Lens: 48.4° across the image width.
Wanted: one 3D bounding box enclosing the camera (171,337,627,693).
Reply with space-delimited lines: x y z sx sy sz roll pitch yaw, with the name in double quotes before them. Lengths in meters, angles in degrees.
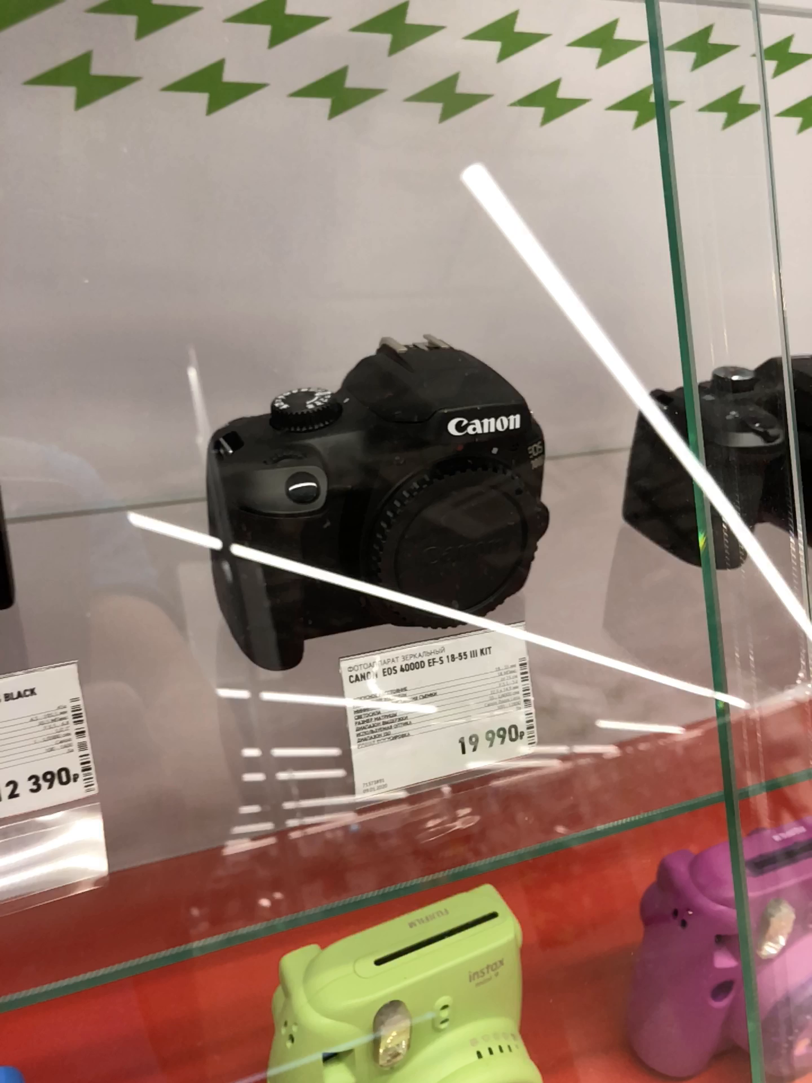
"camera" -0.008 -0.020 0.344 0.136 0.083 0.100 -9 30 -23
